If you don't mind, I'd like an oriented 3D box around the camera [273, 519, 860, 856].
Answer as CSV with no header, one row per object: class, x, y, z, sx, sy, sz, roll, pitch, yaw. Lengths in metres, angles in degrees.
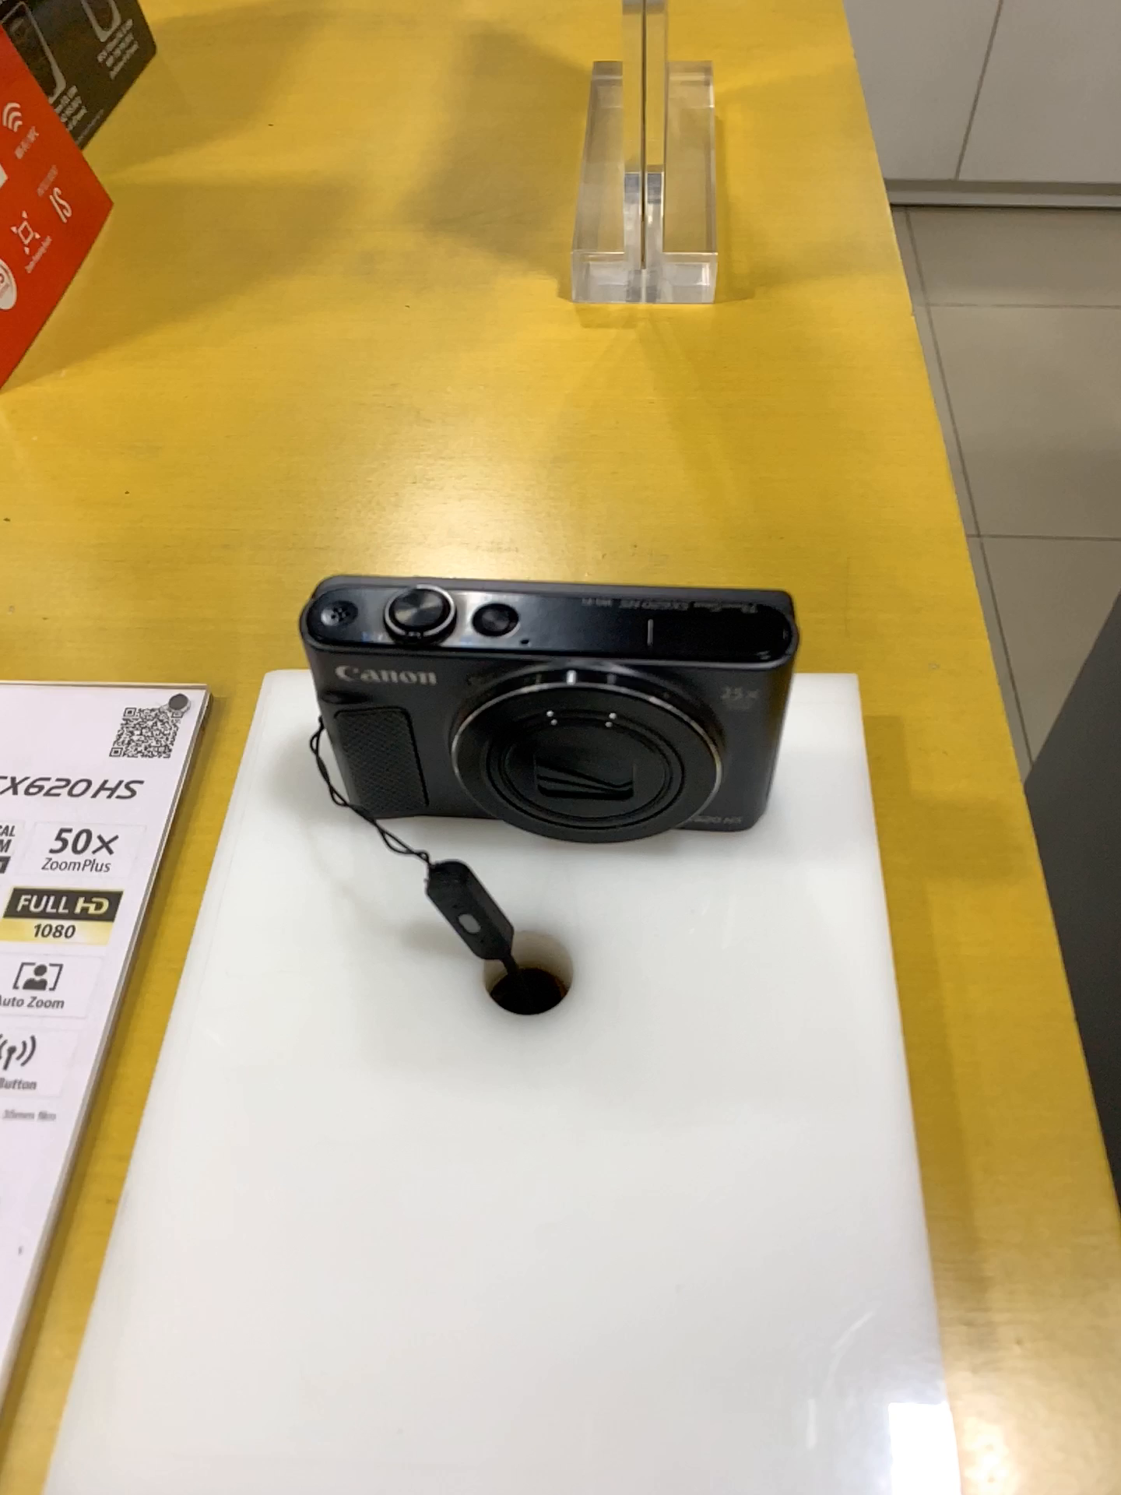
camera,0.002,-0.010,0.228,0.100,0.060,0.030,3,53,4
